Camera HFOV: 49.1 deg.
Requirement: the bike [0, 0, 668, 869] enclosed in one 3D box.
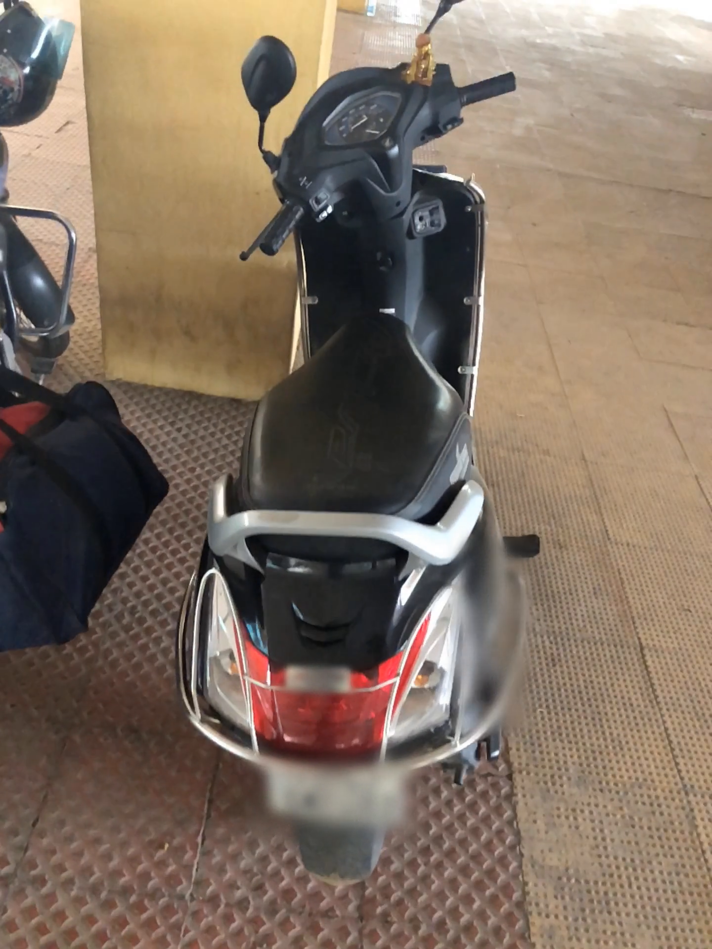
[{"bbox_3d":[-0.126,-0.307,1.570,0.621,0.882,1.668,6,40,-6],"label":"bike"}]
